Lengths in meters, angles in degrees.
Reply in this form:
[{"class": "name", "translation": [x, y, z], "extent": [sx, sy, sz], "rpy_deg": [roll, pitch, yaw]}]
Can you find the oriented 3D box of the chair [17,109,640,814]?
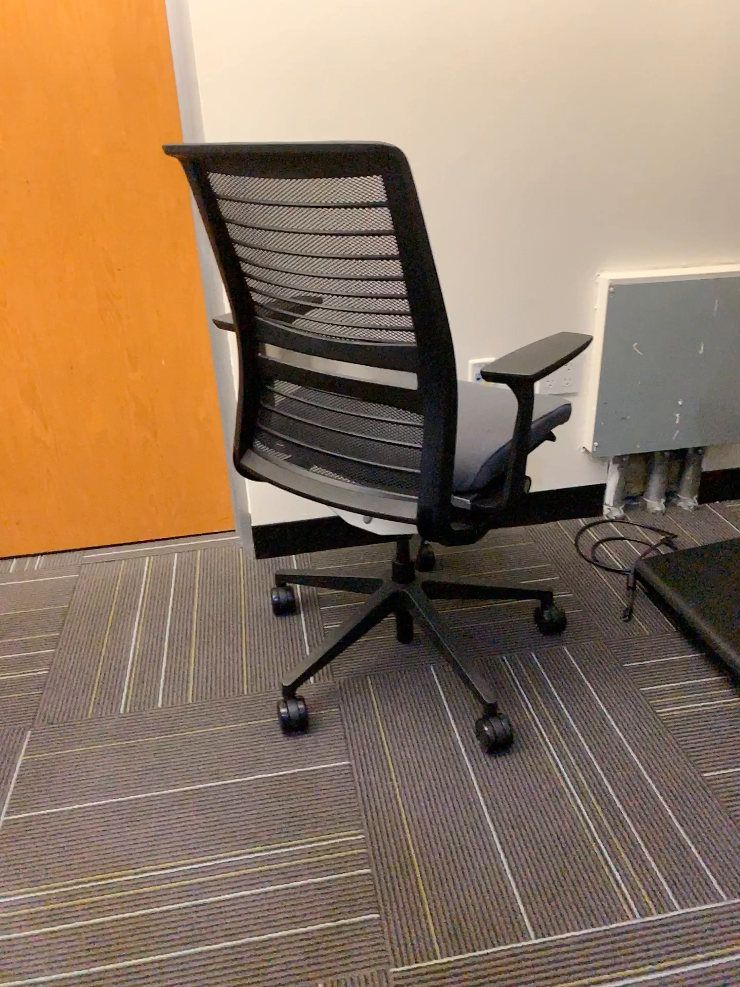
[{"class": "chair", "translation": [0.023, -0.157, 1.444], "extent": [0.742, 0.994, 0.783], "rpy_deg": [9, 29, 22]}]
